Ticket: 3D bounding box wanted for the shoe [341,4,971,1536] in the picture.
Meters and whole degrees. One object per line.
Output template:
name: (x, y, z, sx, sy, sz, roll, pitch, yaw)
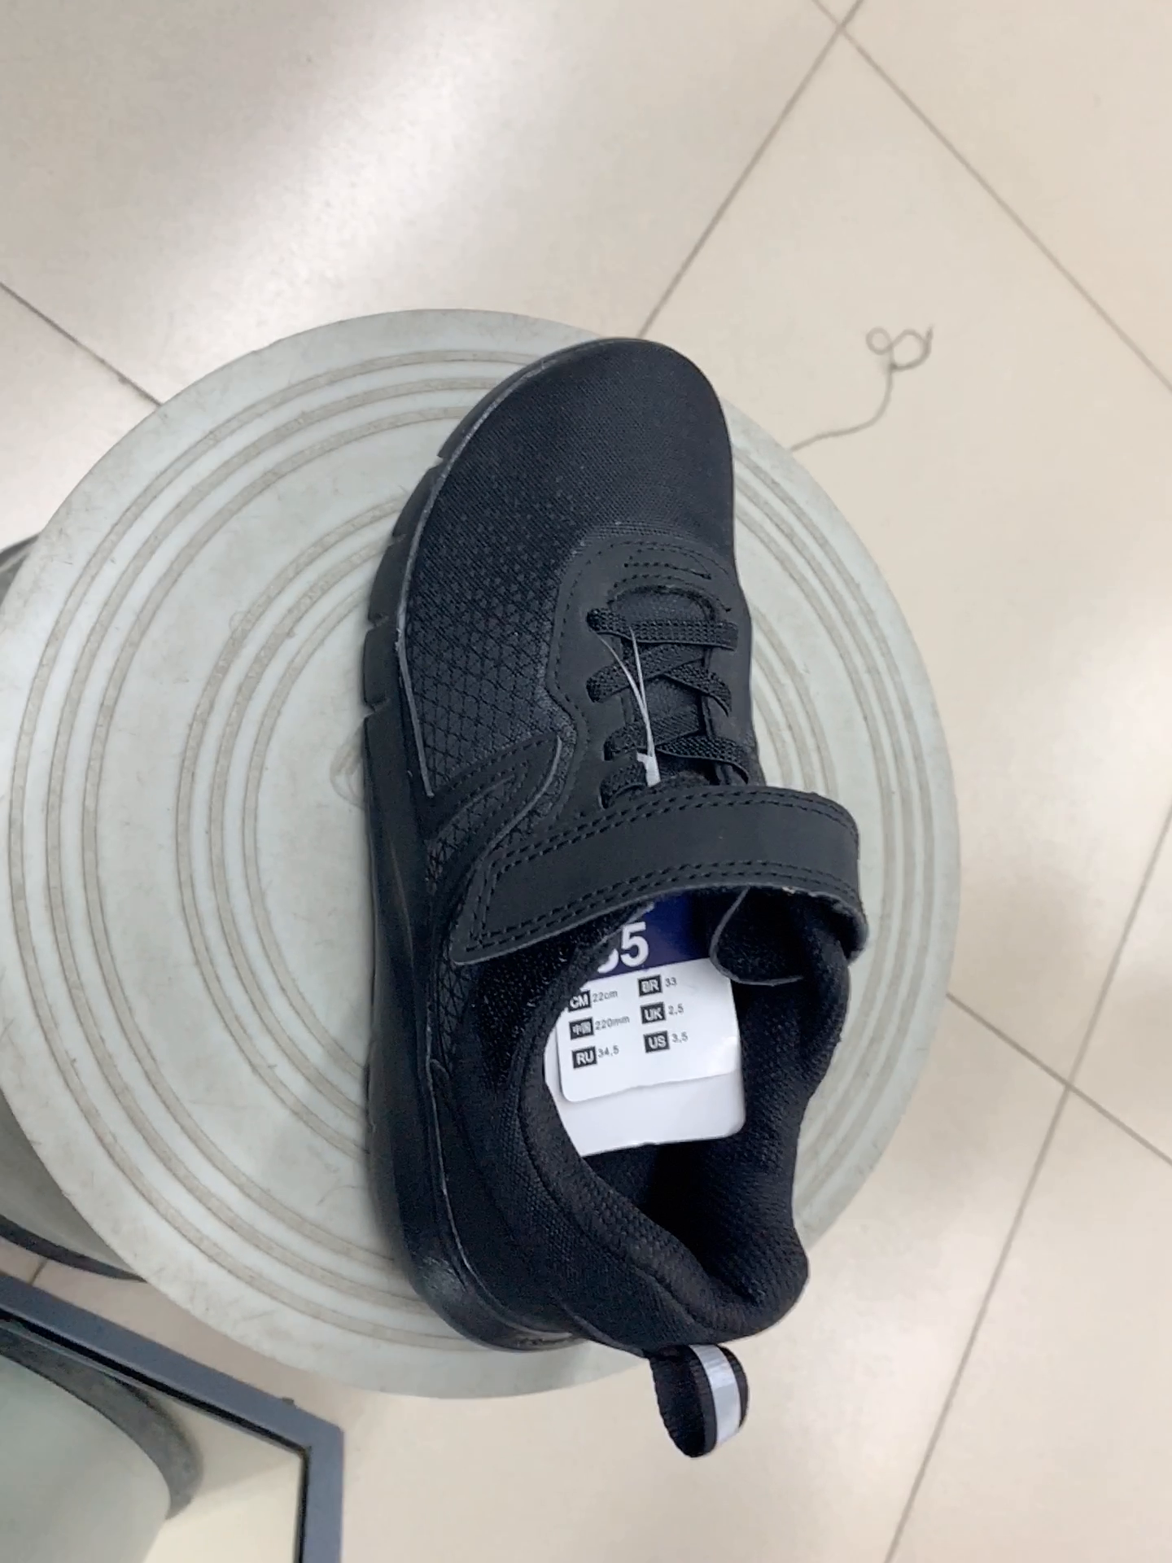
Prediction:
shoe: (0.010, -0.004, 0.255, 0.100, 0.080, 0.250, 2, 84, -27)
